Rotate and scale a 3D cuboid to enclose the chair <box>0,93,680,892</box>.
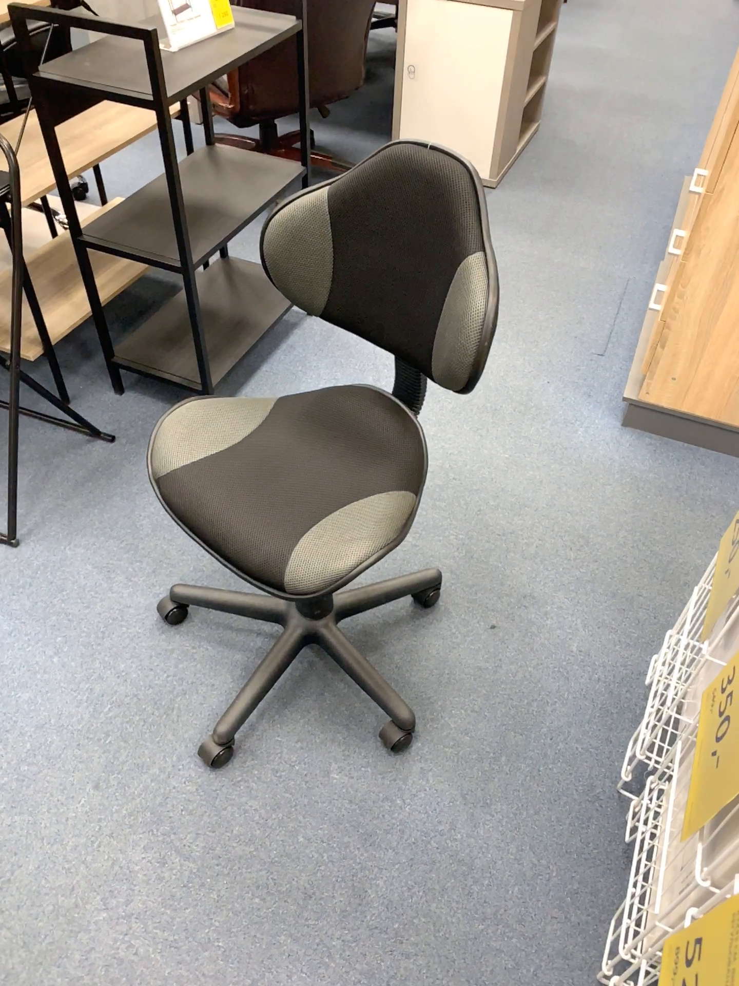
[{"bbox_3d":[-0.087,0.003,1.237,0.631,0.916,0.691,34,54,26],"label":"chair"}]
